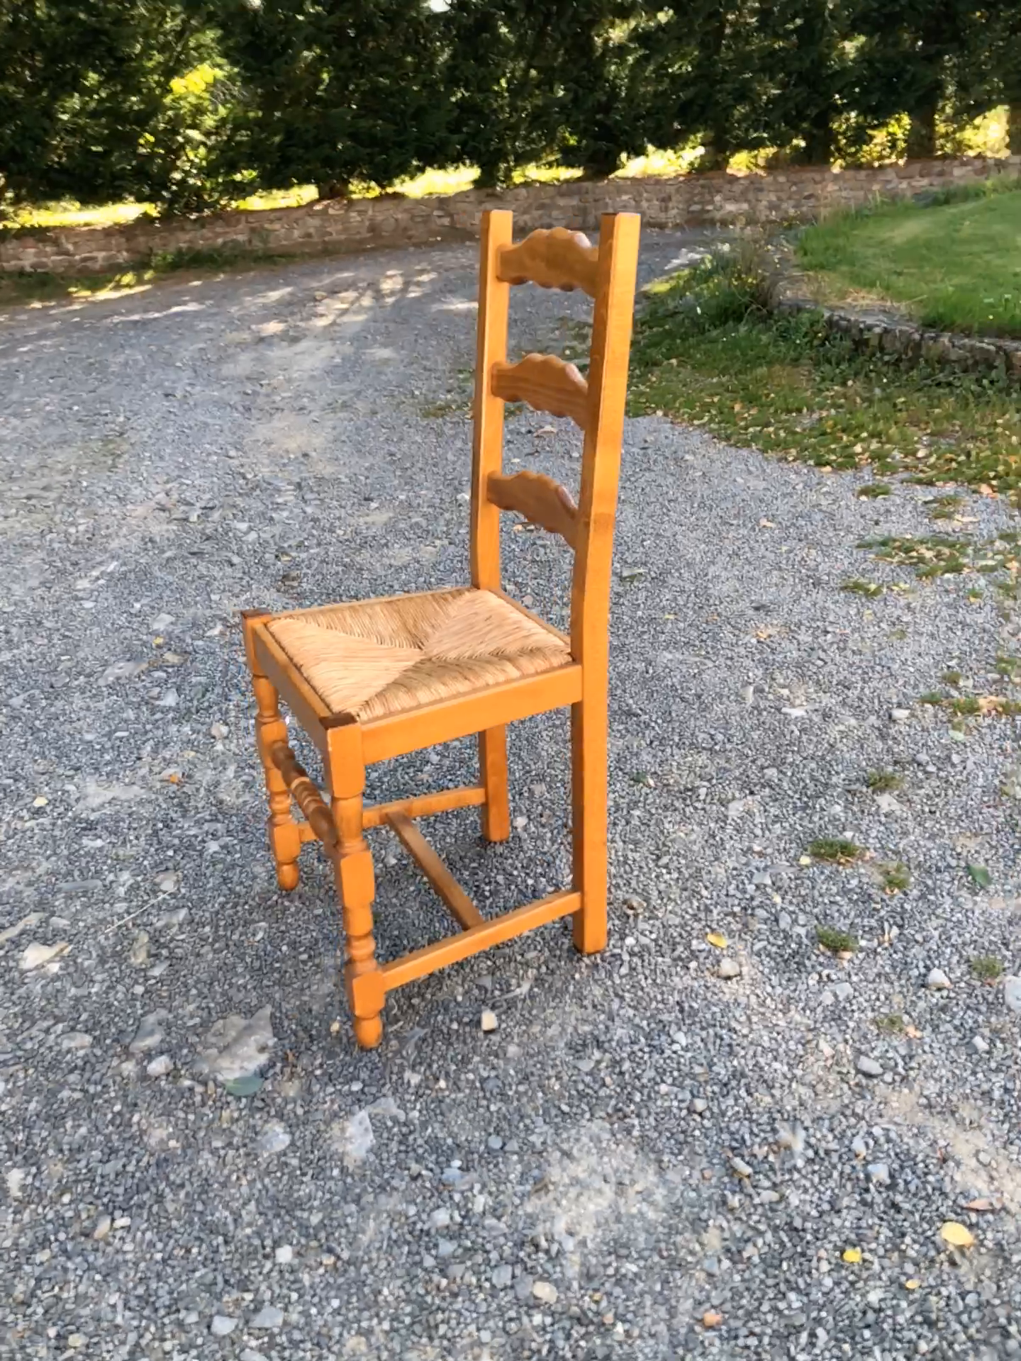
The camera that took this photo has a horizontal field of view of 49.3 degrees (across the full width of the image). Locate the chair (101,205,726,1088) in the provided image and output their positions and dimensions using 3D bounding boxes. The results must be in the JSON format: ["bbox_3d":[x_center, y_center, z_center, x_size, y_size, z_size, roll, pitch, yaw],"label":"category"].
[{"bbox_3d":[-0.122,-0.098,1.387,0.521,0.885,0.531,-13,26,-23],"label":"chair"}]
